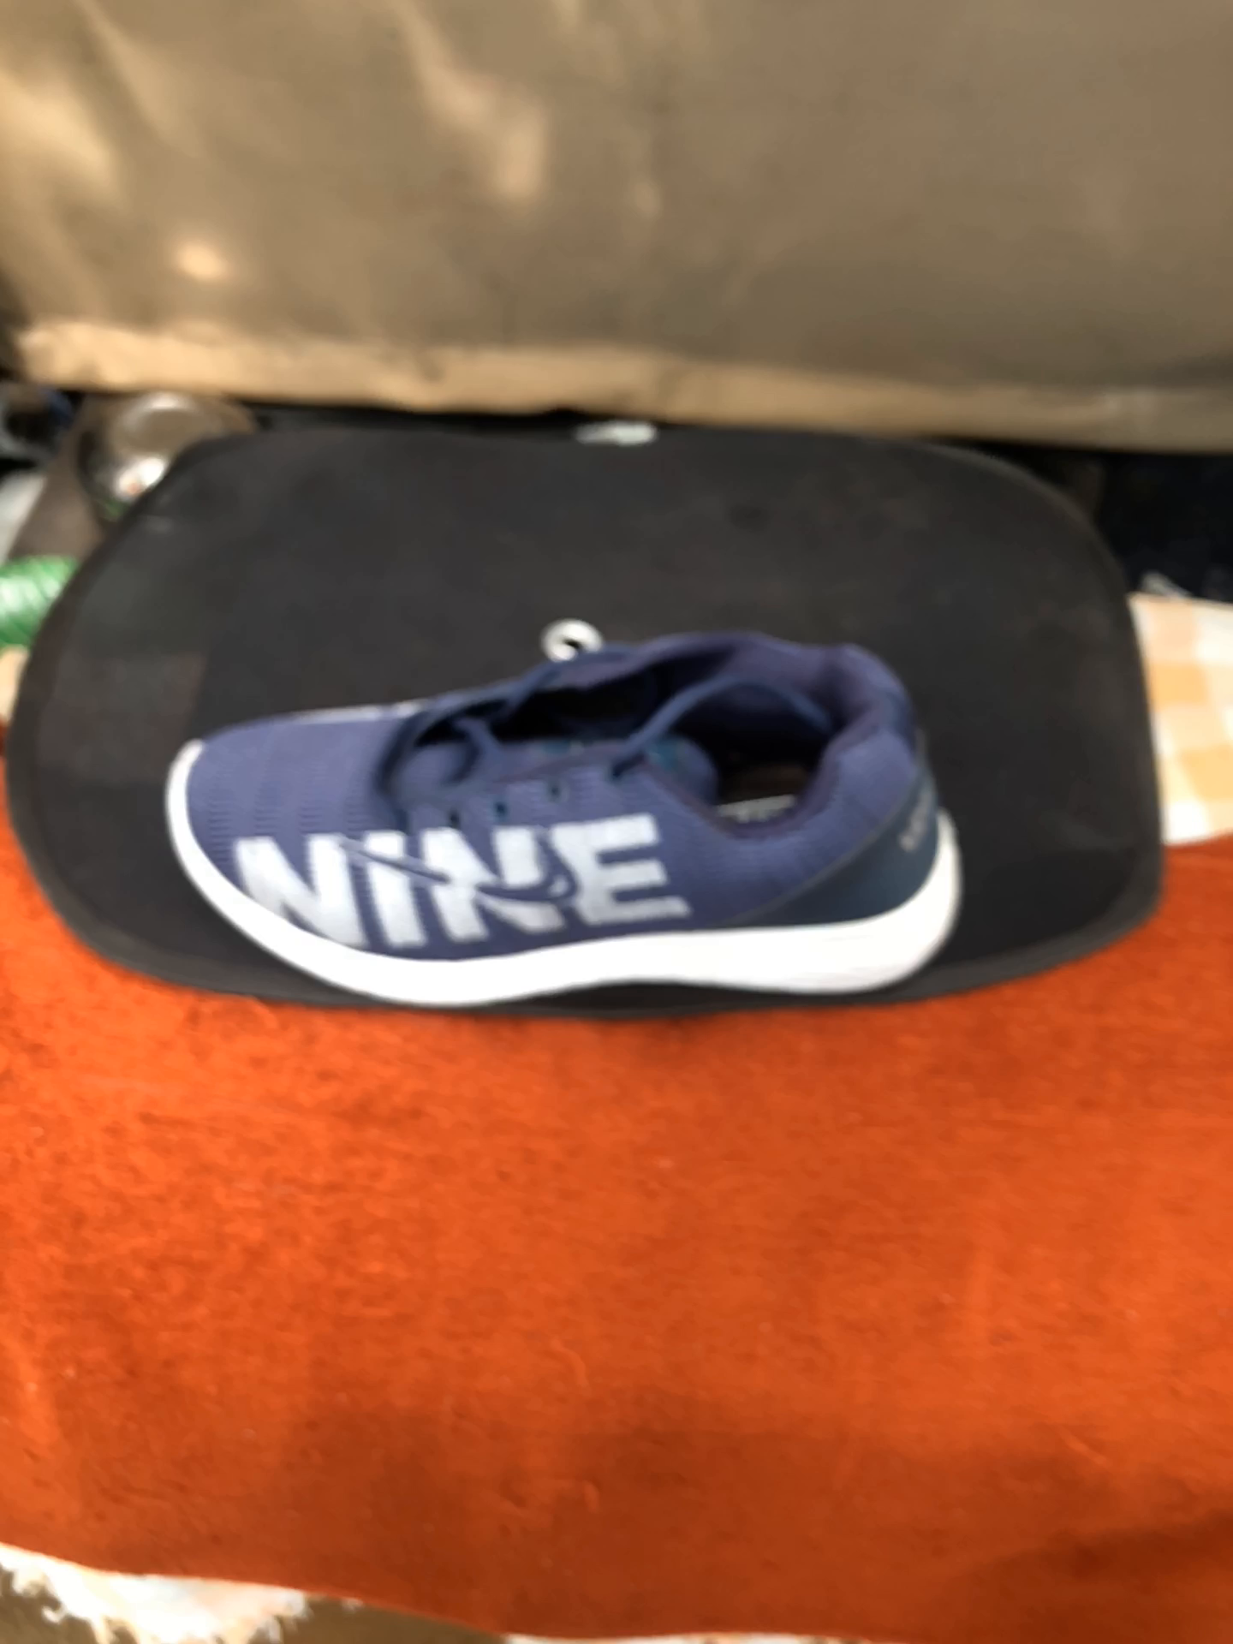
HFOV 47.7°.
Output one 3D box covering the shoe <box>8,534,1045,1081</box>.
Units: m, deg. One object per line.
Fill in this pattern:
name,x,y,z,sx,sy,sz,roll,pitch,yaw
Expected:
shoe,-0.020,-0.009,0.463,0.290,0.100,0.131,4,52,7
